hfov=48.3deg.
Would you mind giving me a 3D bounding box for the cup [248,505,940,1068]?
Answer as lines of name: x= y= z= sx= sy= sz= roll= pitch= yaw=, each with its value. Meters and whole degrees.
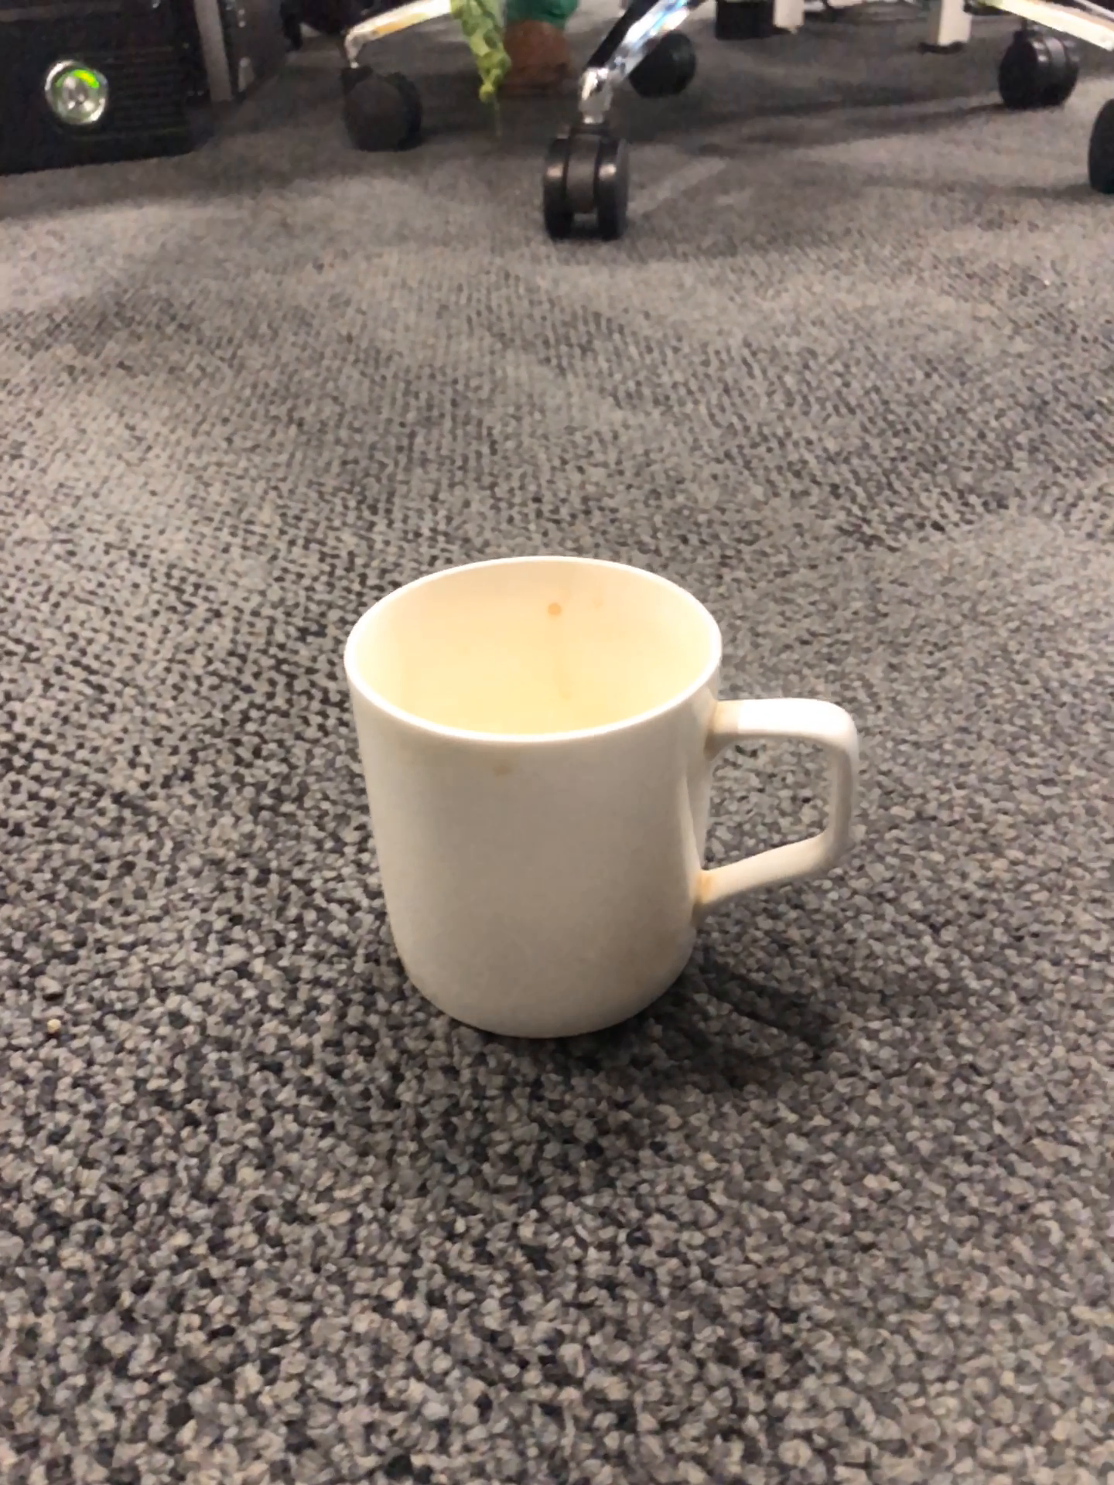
cup: x=0.009 y=0.004 z=0.227 sx=0.100 sy=0.070 sz=0.070 roll=3 pitch=34 yaw=8
